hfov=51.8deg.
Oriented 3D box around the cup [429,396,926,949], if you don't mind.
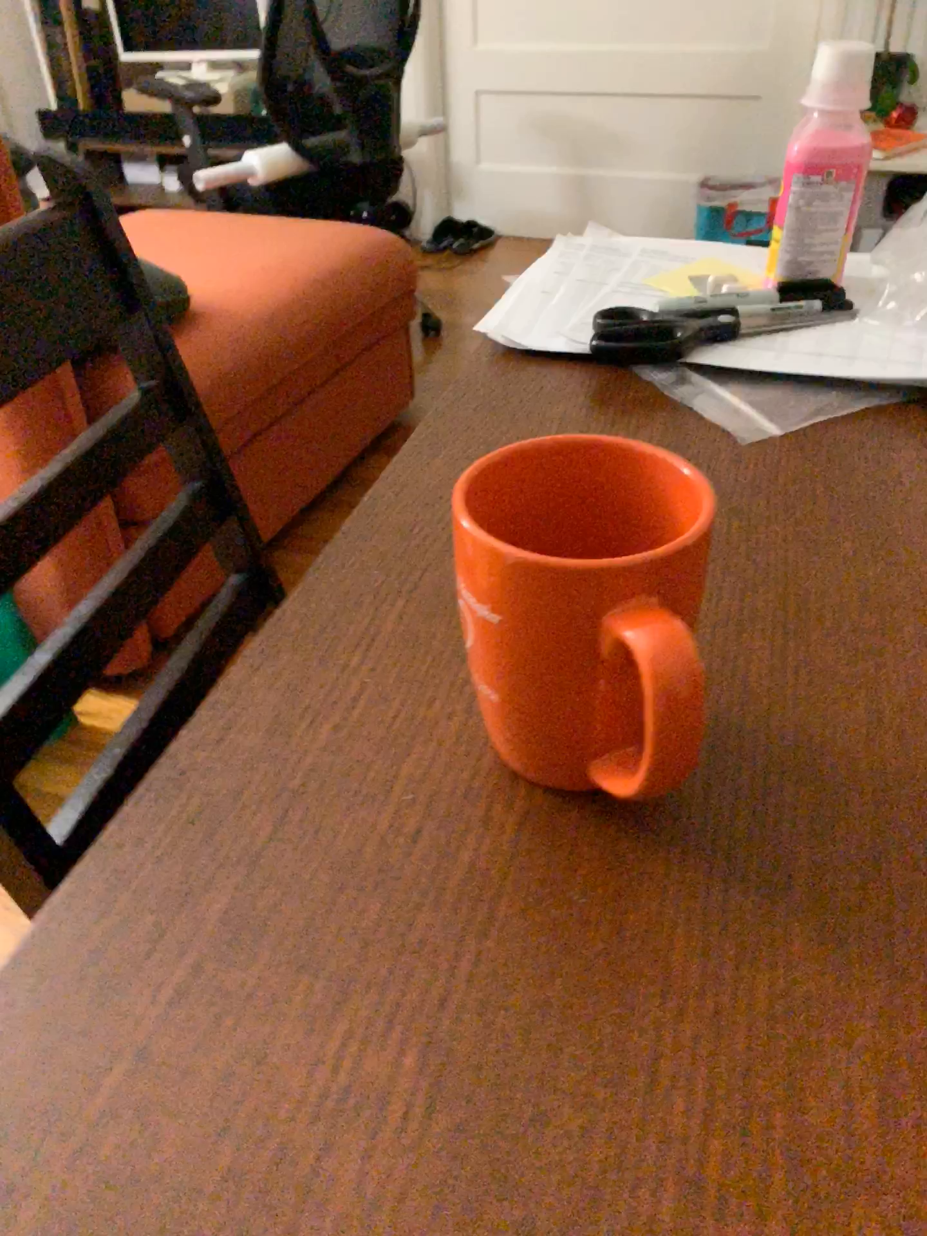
[{"bbox_3d":[0.060,0.010,0.324,0.100,0.109,0.131,-15,39,-16],"label":"cup"}]
